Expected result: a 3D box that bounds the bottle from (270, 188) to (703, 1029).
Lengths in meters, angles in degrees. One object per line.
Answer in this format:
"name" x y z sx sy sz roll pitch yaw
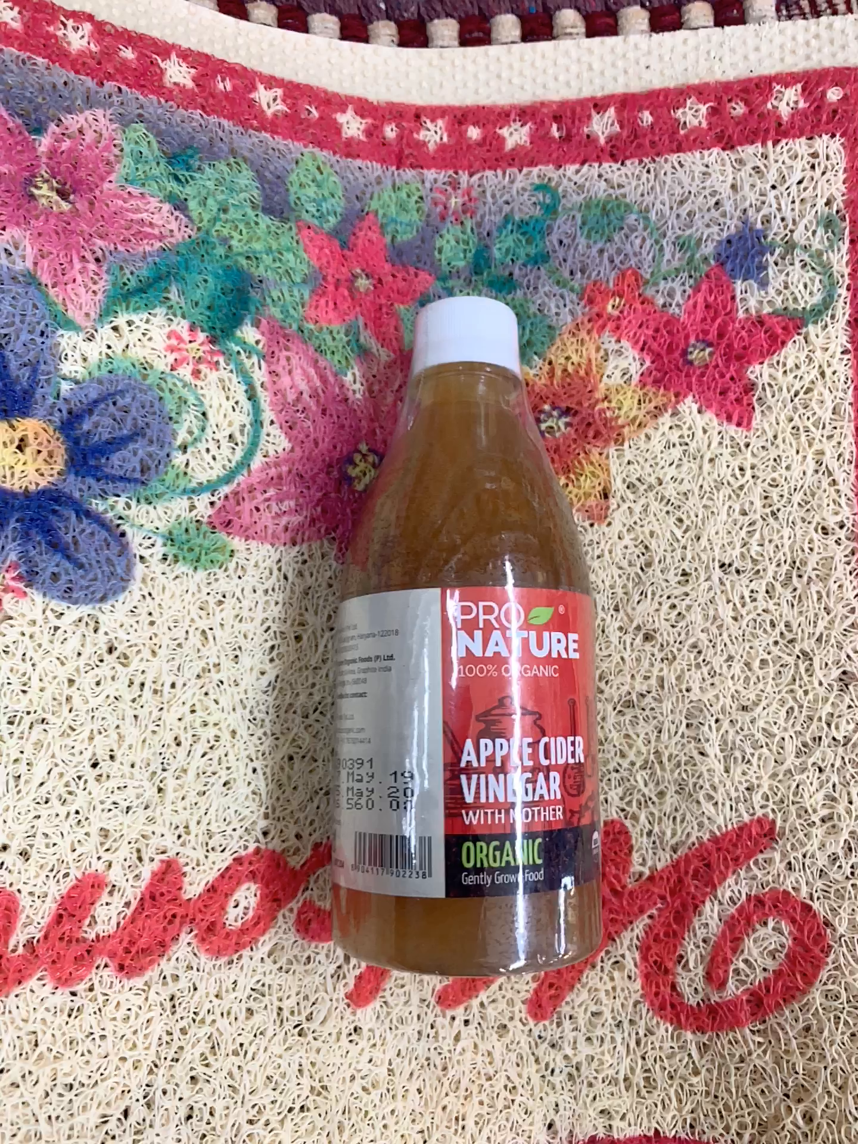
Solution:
"bottle" 0.013 0.008 0.210 0.080 0.050 0.160 4 88 -27
